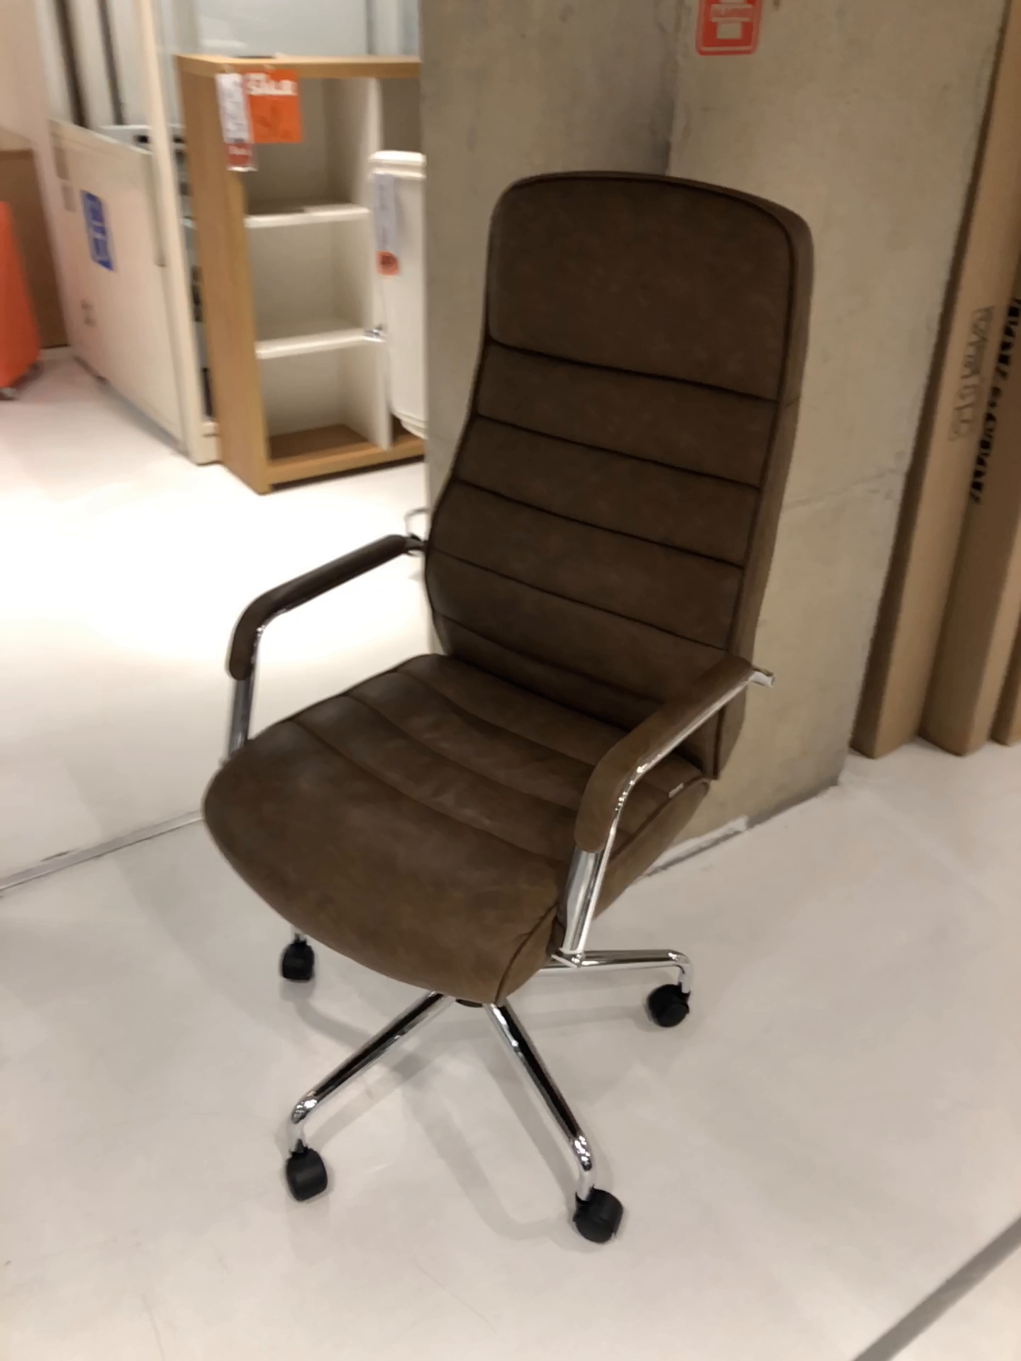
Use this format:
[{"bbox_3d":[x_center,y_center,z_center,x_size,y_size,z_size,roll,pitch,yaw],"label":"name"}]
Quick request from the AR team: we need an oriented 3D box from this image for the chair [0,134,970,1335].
[{"bbox_3d":[-0.045,-0.016,1.223,0.642,0.962,0.633,25,38,33],"label":"chair"}]
